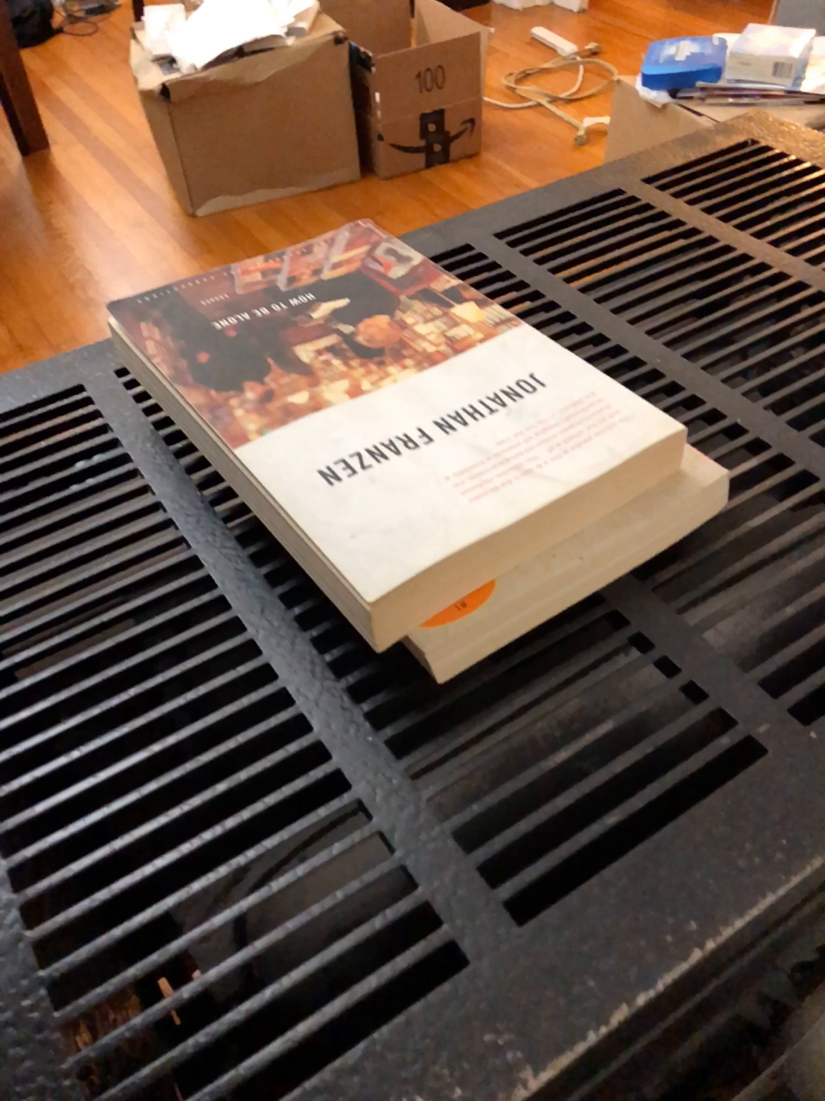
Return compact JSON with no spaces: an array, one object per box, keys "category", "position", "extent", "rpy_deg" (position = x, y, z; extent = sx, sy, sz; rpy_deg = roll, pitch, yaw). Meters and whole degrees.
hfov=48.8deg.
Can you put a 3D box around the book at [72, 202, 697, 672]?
[{"category":"book","position":[-0.021,-0.066,0.363],"extent":[0.150,0.030,0.211],"rpy_deg":[-29,51,-23]}]

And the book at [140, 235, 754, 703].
[{"category":"book","position":[0.004,-0.054,0.376],"extent":[0.150,0.030,0.211],"rpy_deg":[-29,51,-23]}]
